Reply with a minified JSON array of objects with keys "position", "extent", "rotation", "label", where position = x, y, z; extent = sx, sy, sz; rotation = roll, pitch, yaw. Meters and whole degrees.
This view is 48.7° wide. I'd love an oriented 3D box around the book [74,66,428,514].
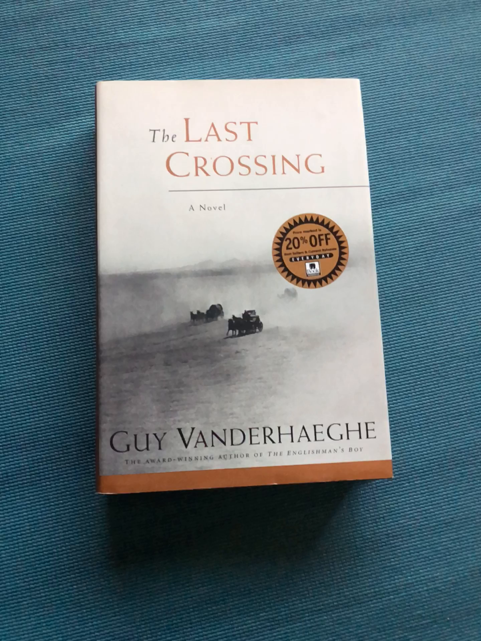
[{"position":[0.000,-0.023,0.293],"extent":[0.170,0.040,0.230],"rotation":[-2,80,-5],"label":"book"}]
